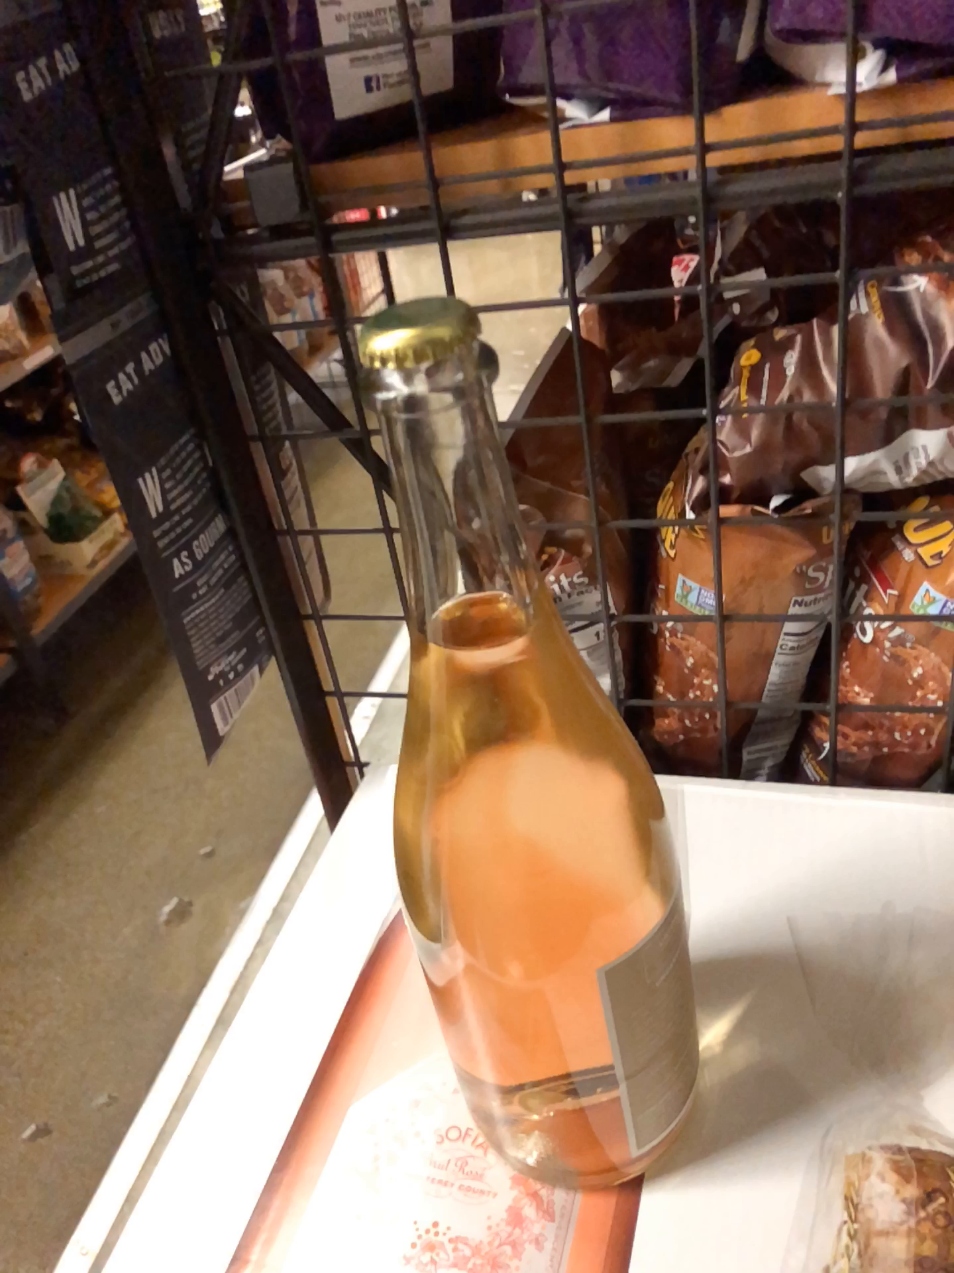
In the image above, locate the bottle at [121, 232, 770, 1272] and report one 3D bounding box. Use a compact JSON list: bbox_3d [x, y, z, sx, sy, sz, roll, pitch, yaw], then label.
[{"bbox_3d":[0.020,0.060,0.296,0.096,0.304,0.099,-8,32,5],"label":"bottle"}]
